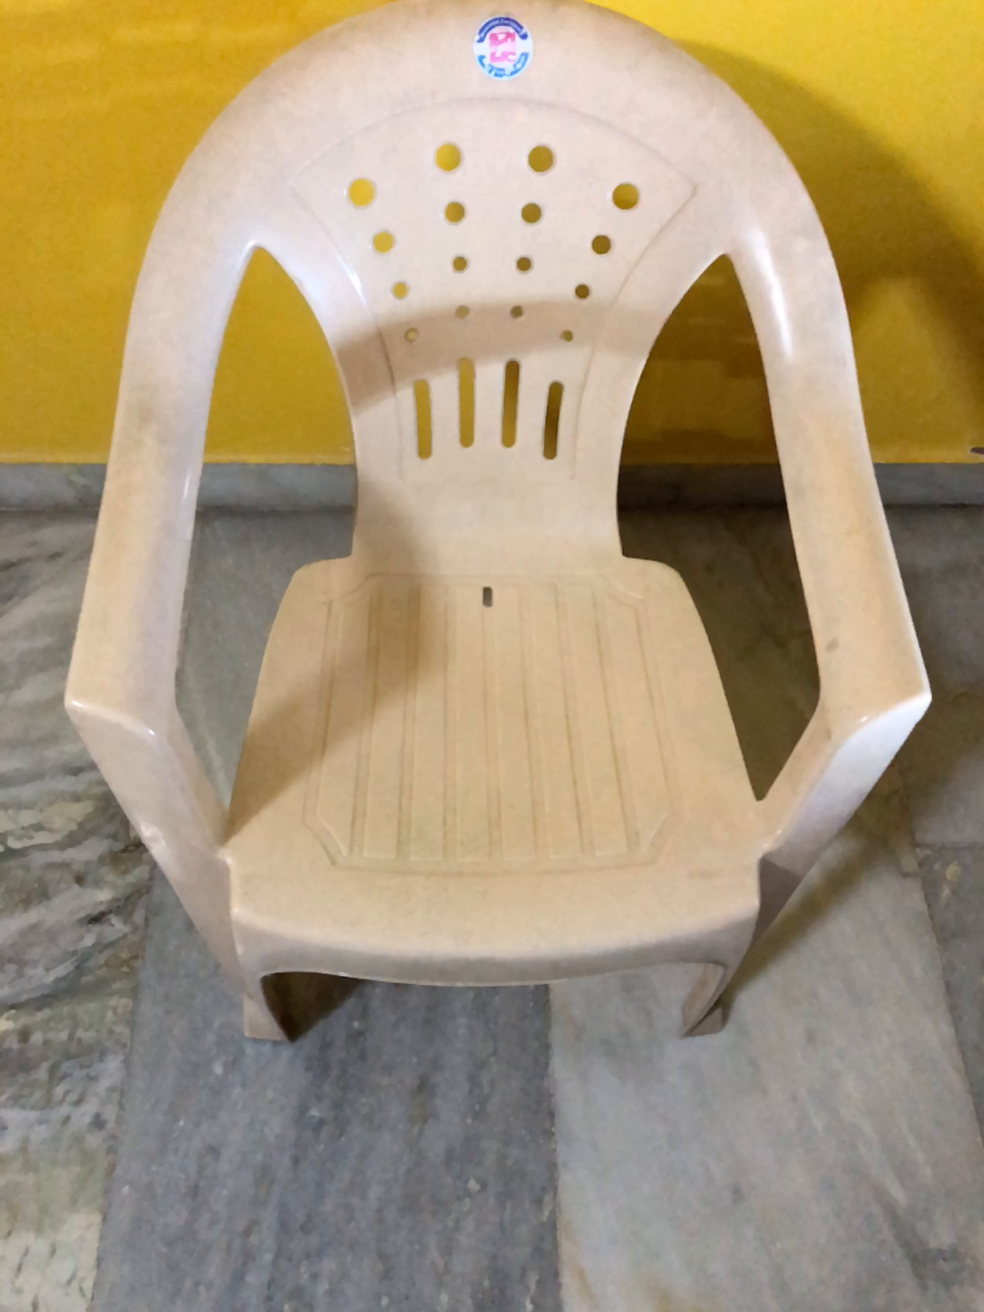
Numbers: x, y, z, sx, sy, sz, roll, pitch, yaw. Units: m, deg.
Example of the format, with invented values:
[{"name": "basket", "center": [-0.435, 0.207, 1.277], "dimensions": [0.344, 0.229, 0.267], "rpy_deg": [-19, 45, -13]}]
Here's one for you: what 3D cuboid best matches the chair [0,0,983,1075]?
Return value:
[{"name": "chair", "center": [0.012, -0.015, 0.905], "dimensions": [0.530, 0.786, 0.562], "rpy_deg": [-1, 60, -3]}]
